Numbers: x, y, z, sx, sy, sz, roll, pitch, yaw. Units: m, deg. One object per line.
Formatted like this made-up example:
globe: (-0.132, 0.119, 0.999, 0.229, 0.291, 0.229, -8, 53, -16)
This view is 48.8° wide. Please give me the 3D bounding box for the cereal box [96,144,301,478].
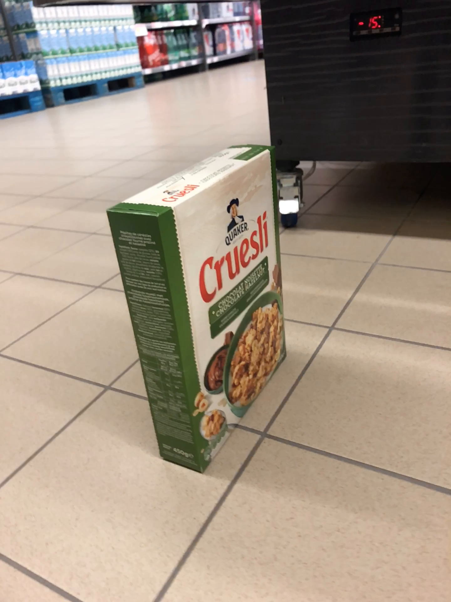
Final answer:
cereal box: (-0.002, -0.001, 0.460, 0.060, 0.239, 0.191, 10, 32, 30)
